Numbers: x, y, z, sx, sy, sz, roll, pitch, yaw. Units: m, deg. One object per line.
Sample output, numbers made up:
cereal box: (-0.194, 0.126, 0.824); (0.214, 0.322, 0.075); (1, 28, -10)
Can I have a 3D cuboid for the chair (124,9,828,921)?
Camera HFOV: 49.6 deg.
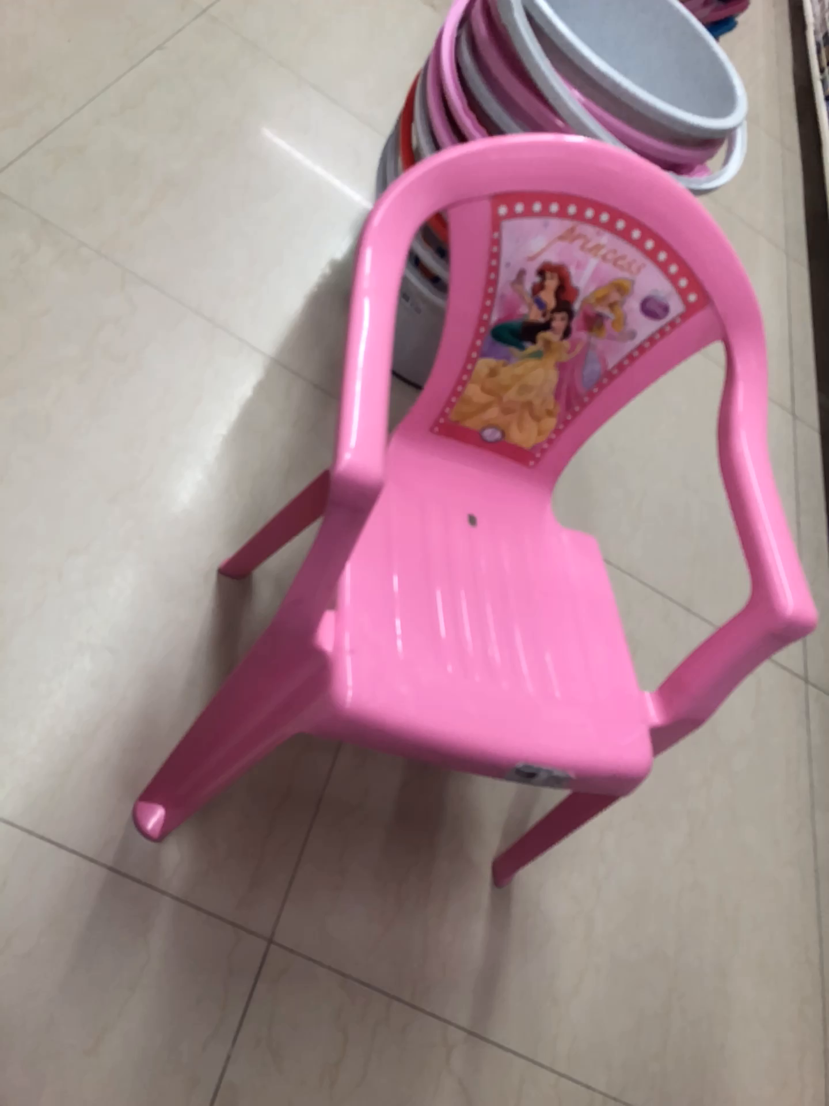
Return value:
chair: (0.062, 0.007, 0.646); (0.370, 0.477, 0.352); (16, 51, -21)
